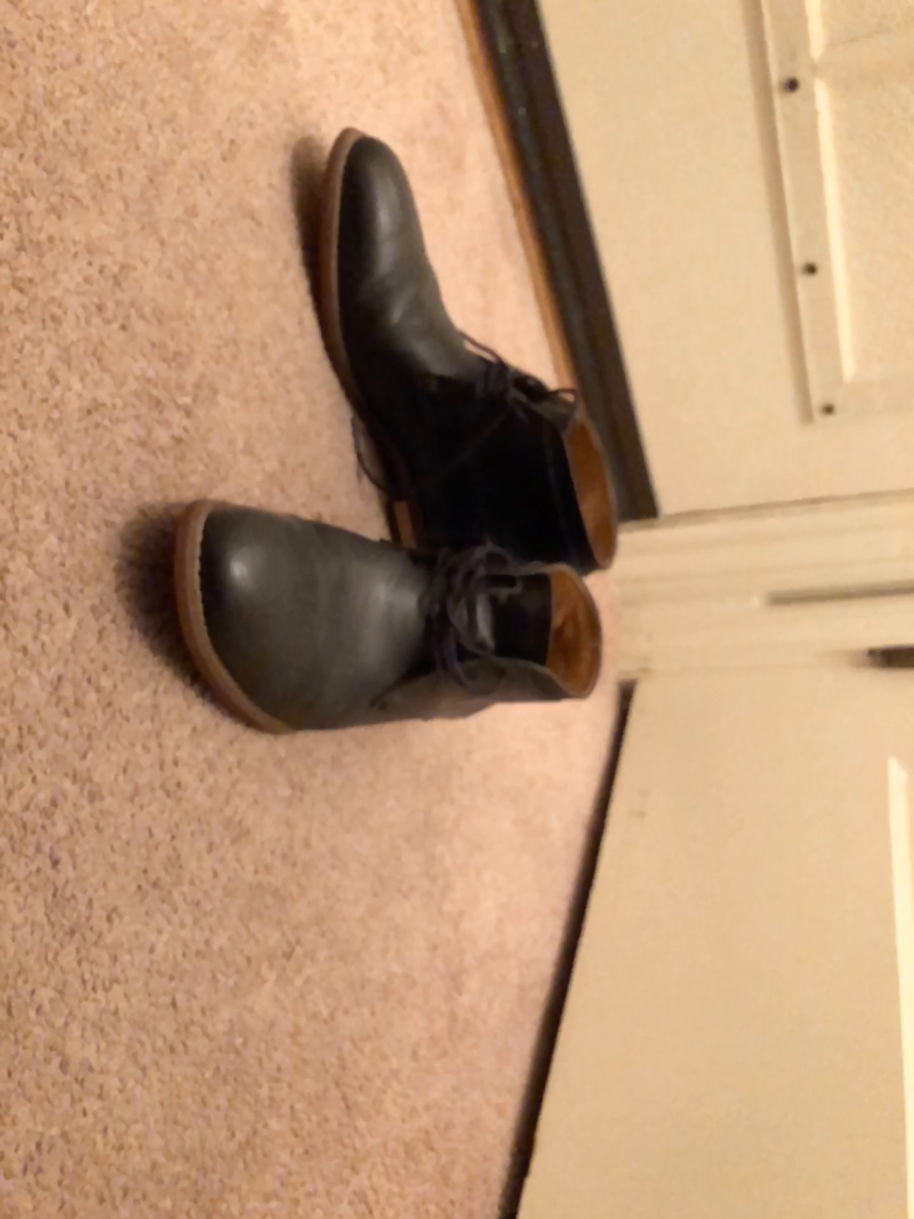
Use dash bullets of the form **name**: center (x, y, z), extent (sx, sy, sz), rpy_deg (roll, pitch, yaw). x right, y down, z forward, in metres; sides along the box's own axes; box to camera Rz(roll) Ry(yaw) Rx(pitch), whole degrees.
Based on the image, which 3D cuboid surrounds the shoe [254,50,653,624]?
- **shoe**: center (0.016, -0.151, 0.629), extent (0.117, 0.135, 0.302), rpy_deg (-64, 142, -49)

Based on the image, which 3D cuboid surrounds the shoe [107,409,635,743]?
- **shoe**: center (-0.016, 0.007, 0.523), extent (0.303, 0.135, 0.116), rpy_deg (15, 72, -65)
